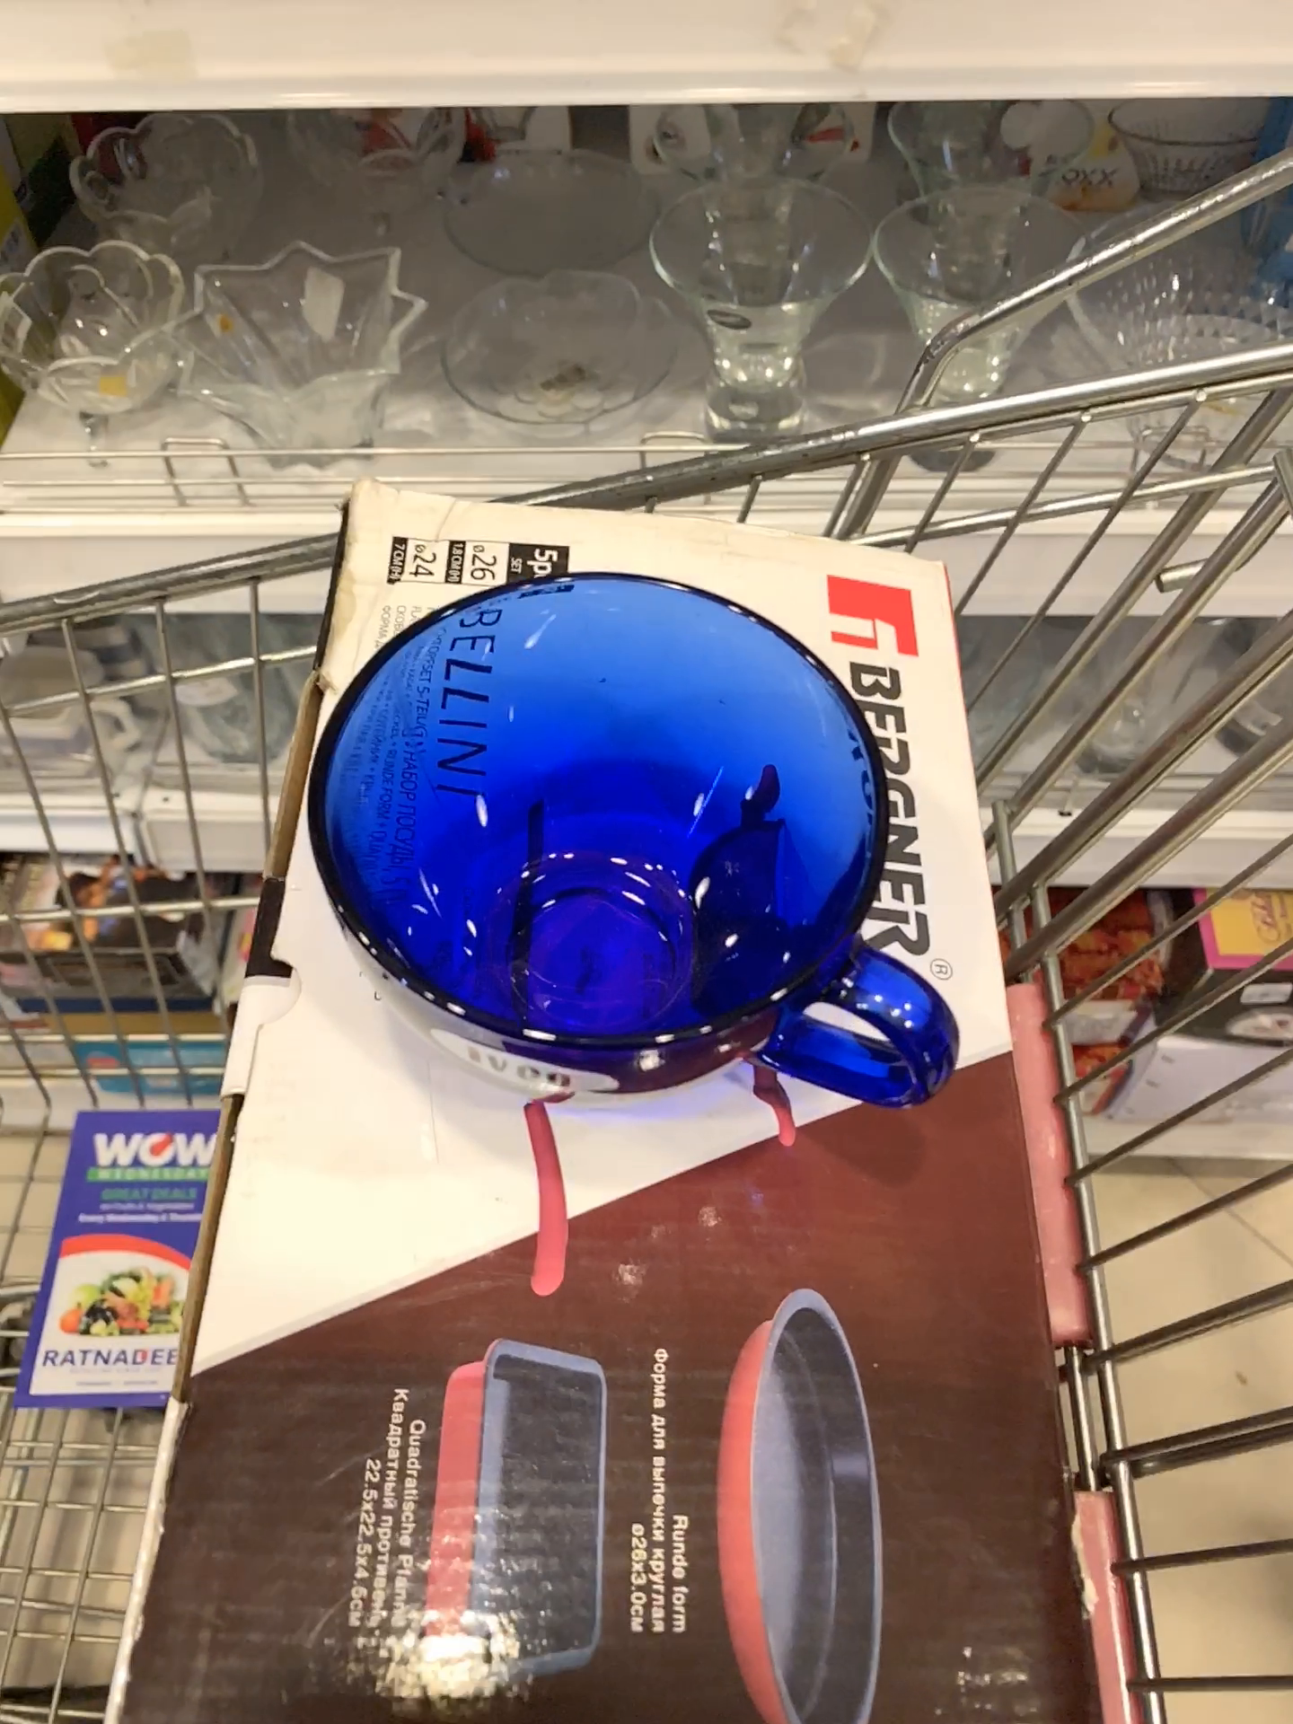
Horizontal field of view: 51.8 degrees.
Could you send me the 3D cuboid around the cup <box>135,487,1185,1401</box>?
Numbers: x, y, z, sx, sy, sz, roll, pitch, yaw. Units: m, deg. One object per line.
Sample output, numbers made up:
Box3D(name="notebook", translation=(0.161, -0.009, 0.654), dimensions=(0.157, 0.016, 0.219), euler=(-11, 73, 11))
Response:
Box3D(name="cup", translation=(0.003, 0.007, 0.192), dimensions=(0.110, 0.050, 0.080), euler=(25, 62, 17))
